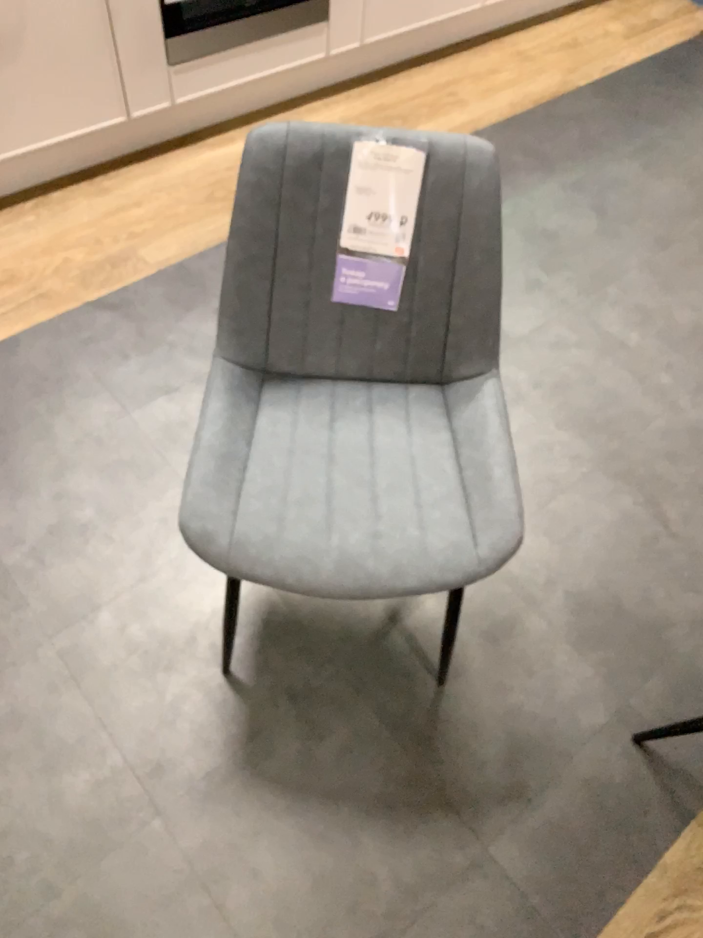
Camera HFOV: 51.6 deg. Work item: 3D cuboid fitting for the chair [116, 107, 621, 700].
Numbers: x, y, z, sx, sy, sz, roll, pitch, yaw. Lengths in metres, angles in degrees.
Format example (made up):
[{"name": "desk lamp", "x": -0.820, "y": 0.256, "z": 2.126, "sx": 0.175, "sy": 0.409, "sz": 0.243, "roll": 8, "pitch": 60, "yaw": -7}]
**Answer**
[{"name": "chair", "x": 0.003, "y": -0.041, "z": 1.261, "sx": 0.522, "sy": 0.834, "sz": 0.591, "roll": 4, "pitch": 54, "yaw": -2}]
